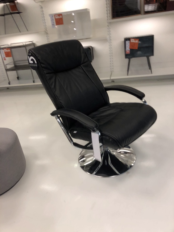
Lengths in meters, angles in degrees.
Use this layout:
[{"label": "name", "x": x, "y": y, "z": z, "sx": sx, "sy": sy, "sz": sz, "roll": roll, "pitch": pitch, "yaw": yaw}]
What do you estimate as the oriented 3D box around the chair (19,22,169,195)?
[{"label": "chair", "x": 0.089, "y": -0.148, "z": 1.581, "sx": 0.733, "sy": 0.993, "sz": 0.803, "roll": -28, "pitch": 31, "yaw": -36}]
